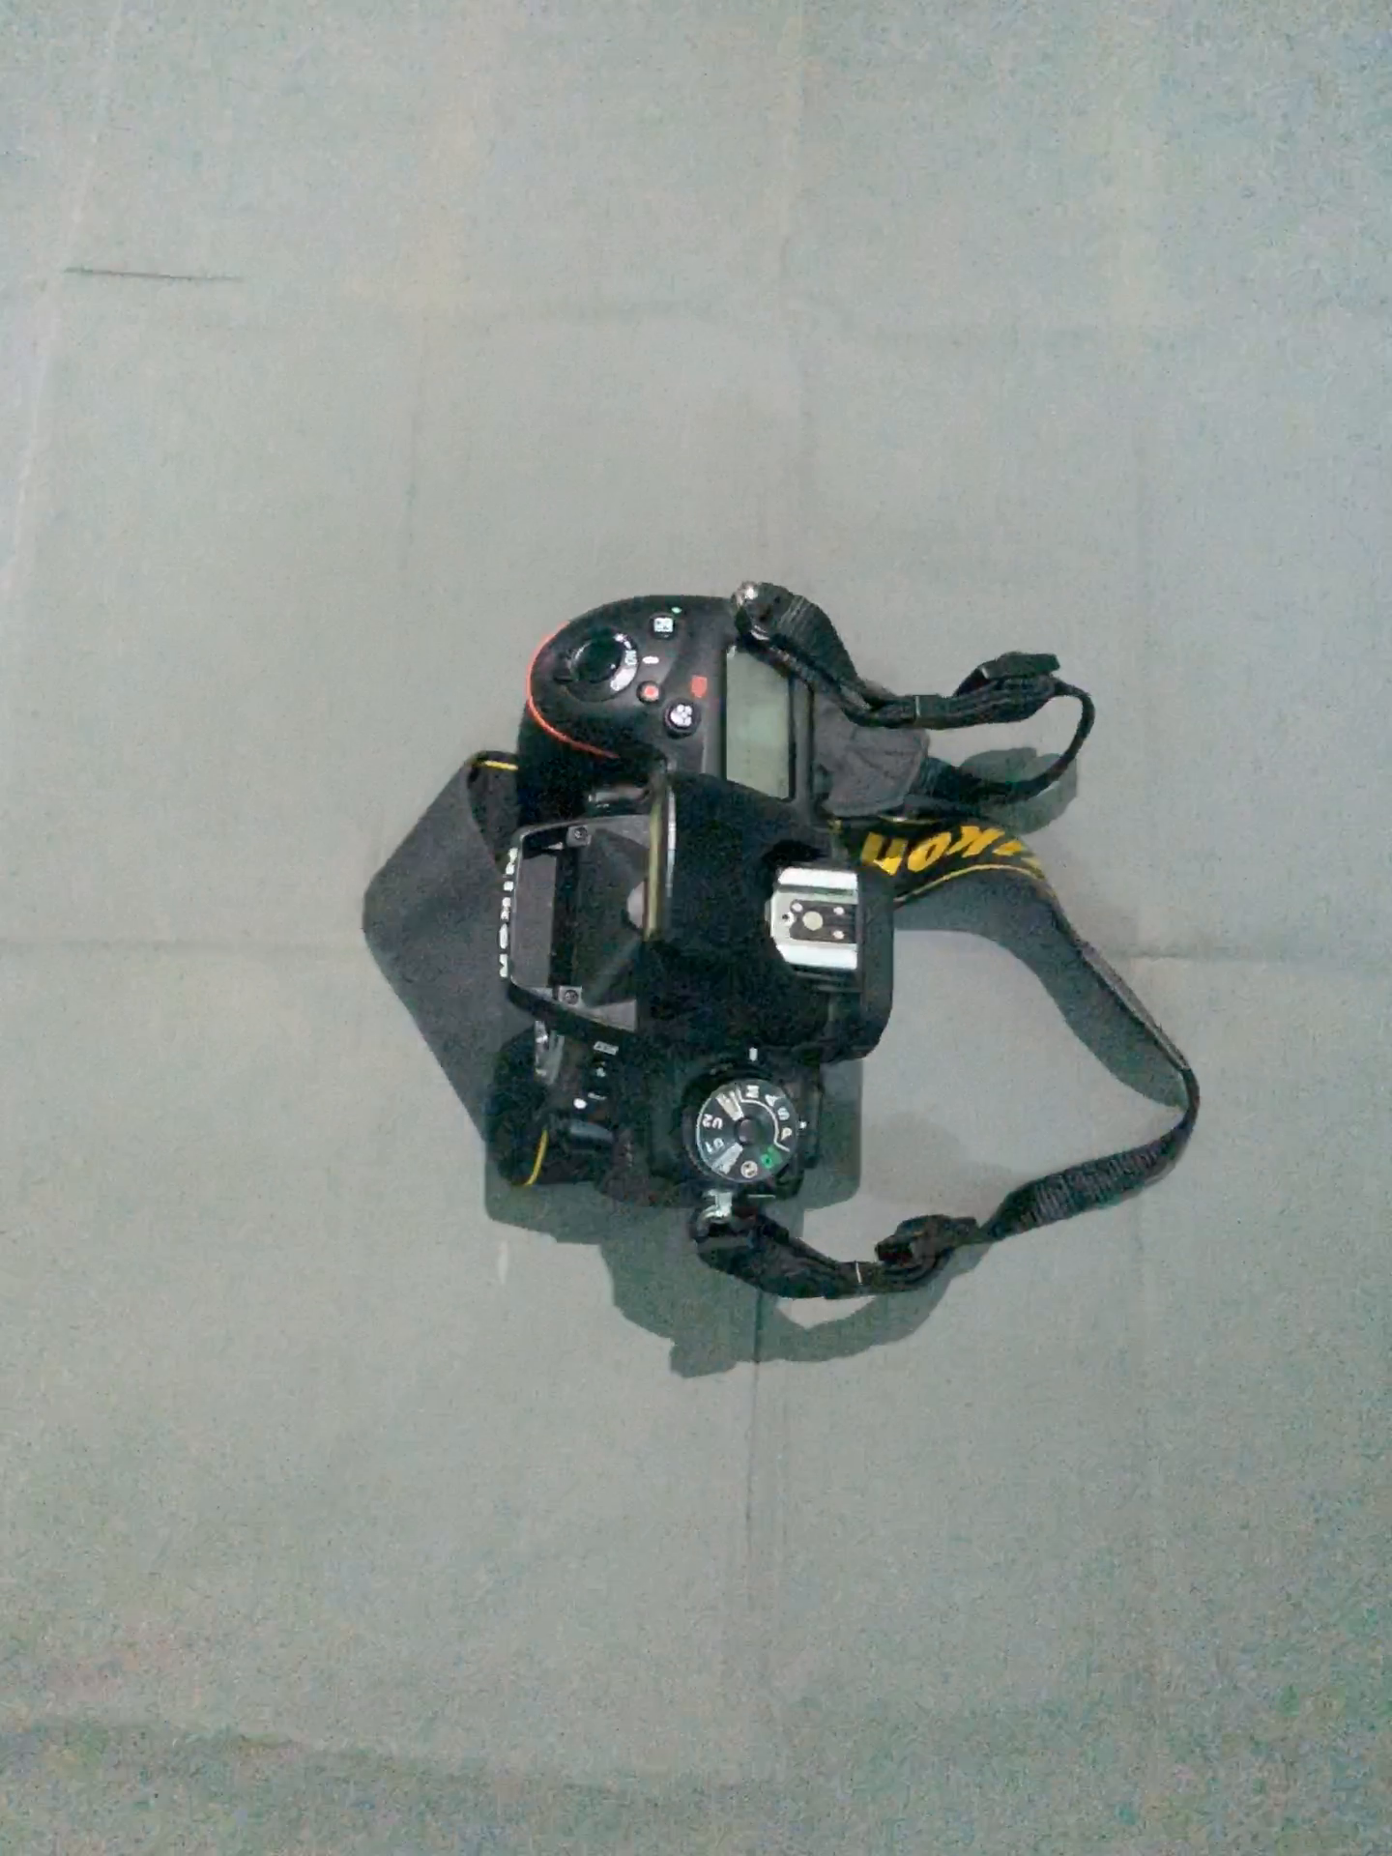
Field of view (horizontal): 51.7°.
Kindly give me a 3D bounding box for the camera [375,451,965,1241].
[{"bbox_3d":[-0.005,-0.006,0.326,0.100,0.126,0.140,4,75,-3],"label":"camera"}]
